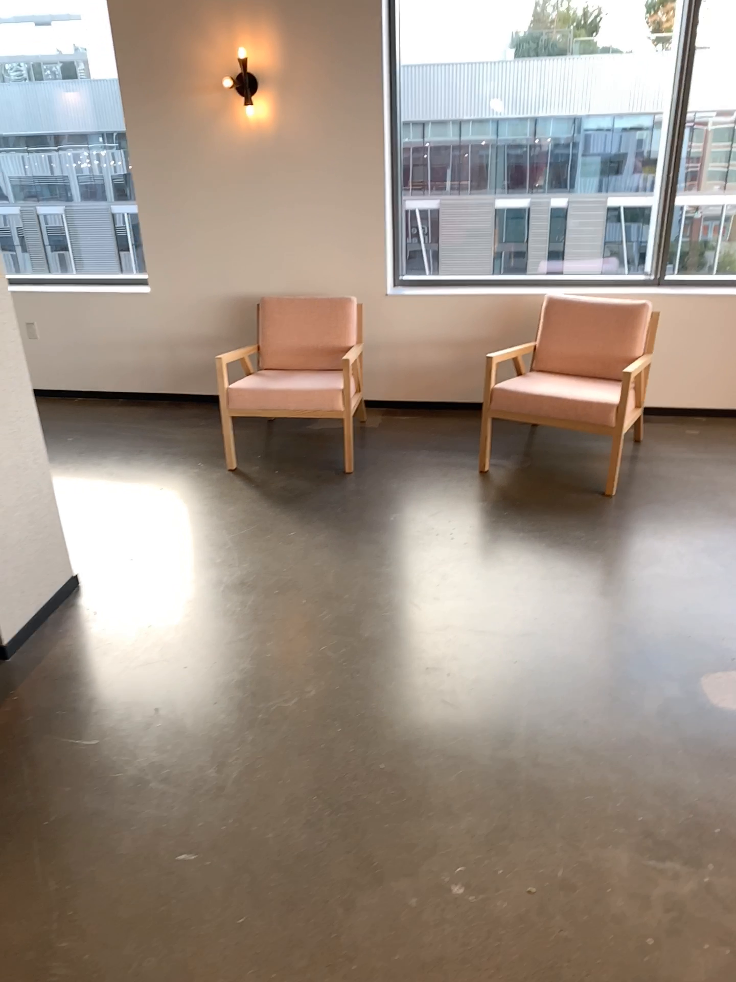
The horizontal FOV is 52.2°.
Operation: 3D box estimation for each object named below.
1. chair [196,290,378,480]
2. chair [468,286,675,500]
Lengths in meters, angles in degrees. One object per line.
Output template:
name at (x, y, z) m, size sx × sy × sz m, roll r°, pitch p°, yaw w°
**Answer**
chair at (-0.381, -0.599, 4.043) m, size 0.741 × 0.795 × 0.774 m, roll 2°, pitch 26°, yaw 10°
chair at (1.011, -0.533, 3.747) m, size 0.742 × 0.796 × 0.772 m, roll 12°, pitch 27°, yaw 28°
